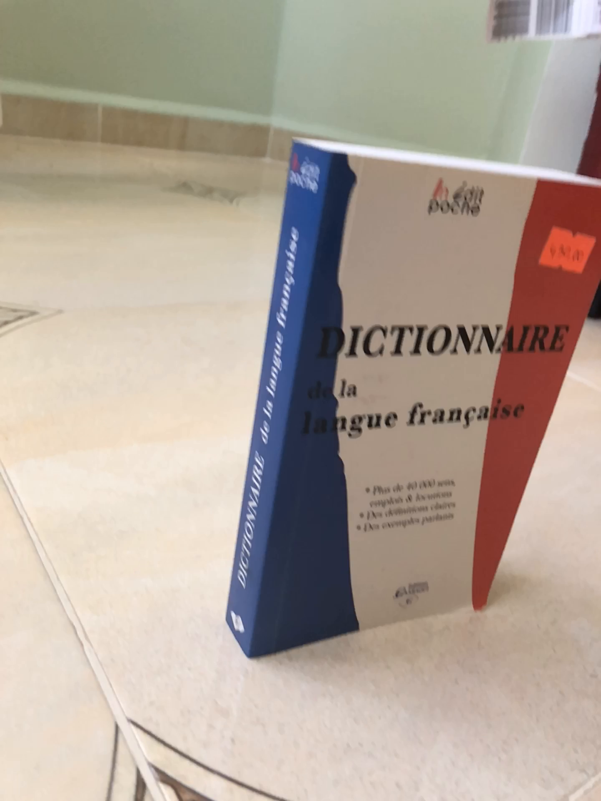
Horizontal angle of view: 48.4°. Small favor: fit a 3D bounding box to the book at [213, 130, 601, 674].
[{"bbox_3d":[0.041,0.008,0.242,0.121,0.181,0.034,-2,28,-24],"label":"book"}]
